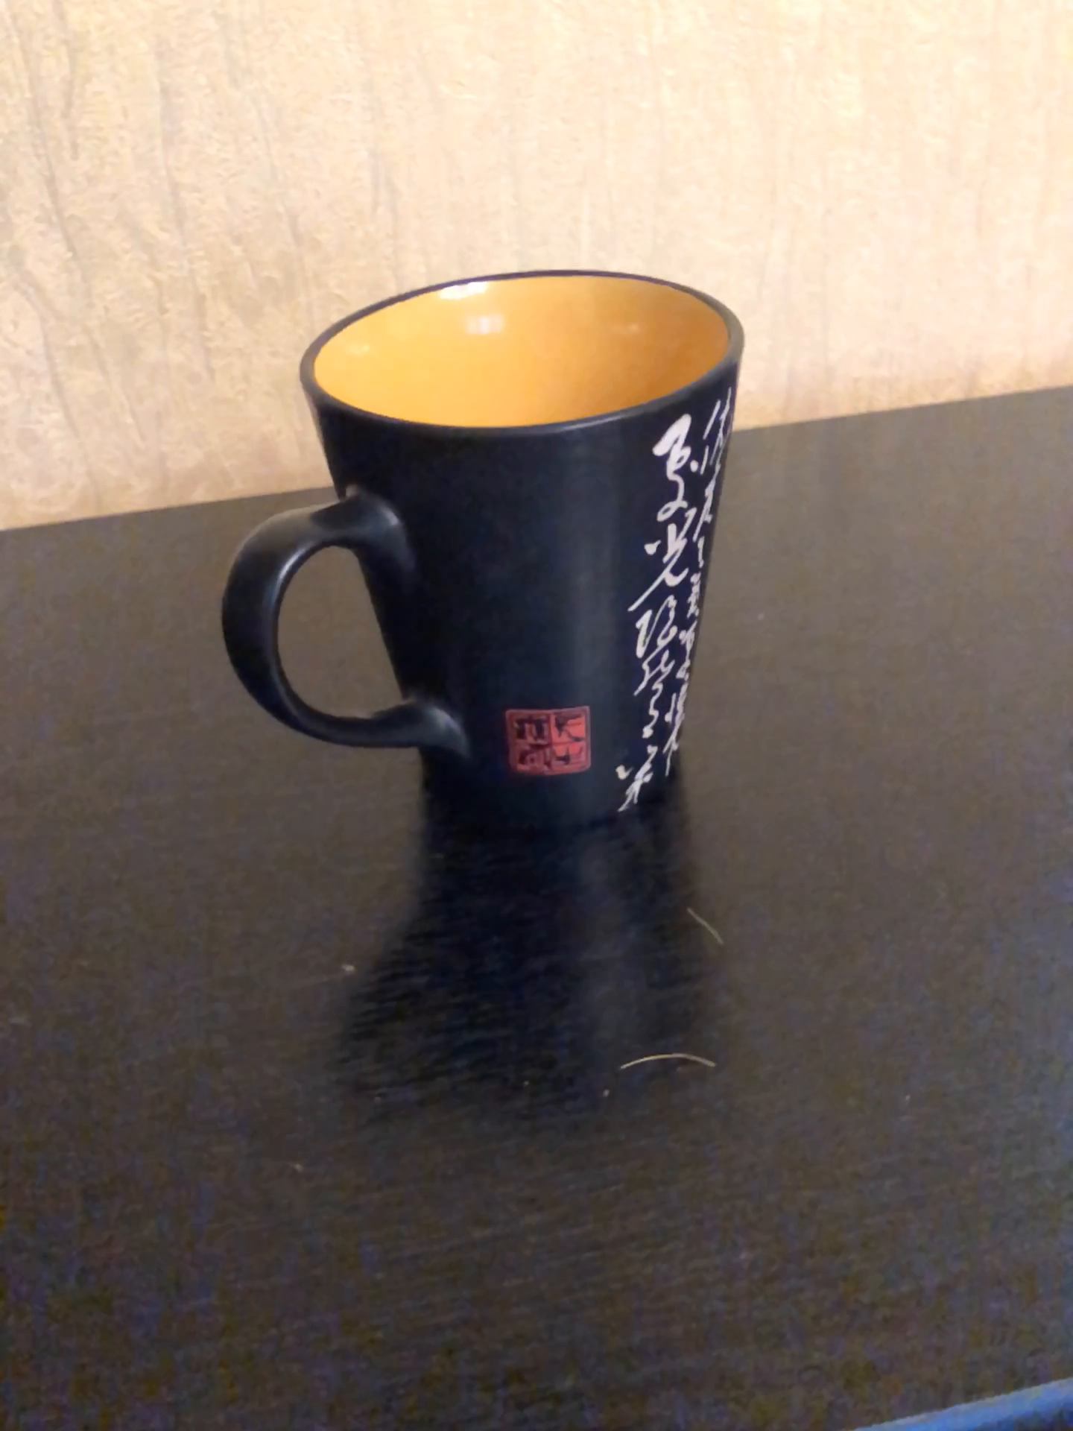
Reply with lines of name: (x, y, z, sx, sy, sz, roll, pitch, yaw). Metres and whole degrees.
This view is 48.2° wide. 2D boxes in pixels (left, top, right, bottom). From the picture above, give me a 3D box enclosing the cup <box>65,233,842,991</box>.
cup: (-0.009, -0.034, 0.268, 0.090, 0.099, 0.130, 25, 46, 34)
